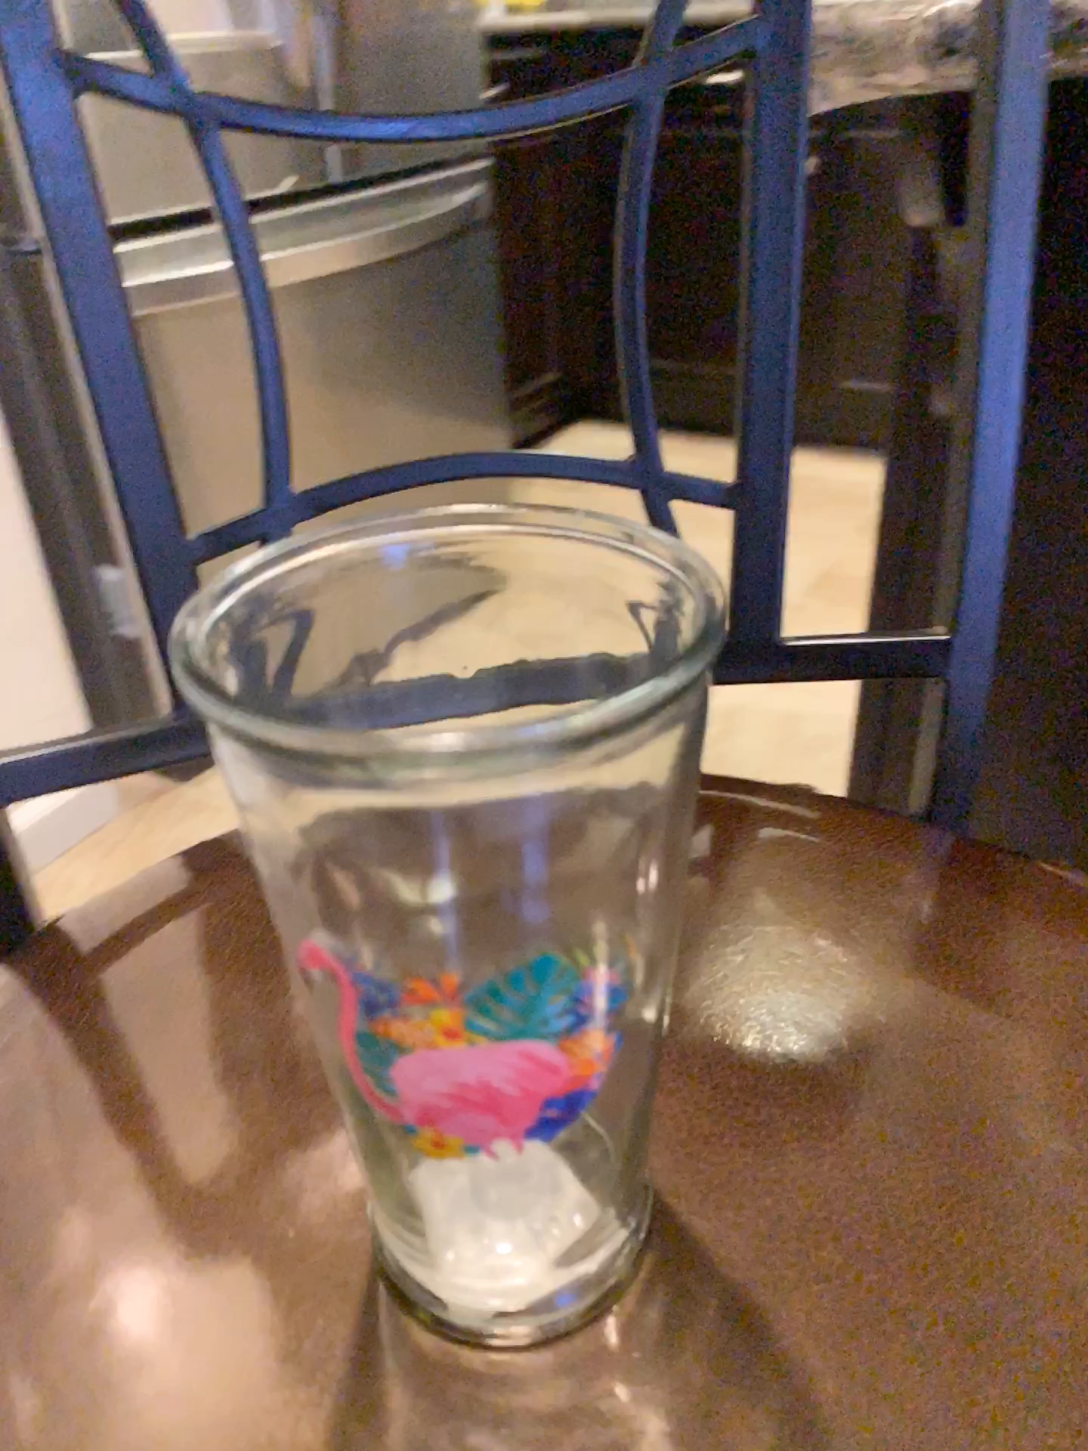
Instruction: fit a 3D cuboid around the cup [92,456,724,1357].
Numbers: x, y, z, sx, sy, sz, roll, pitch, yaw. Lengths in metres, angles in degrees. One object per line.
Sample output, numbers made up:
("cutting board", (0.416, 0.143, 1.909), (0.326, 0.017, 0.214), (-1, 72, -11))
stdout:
("cup", (-0.012, 0.035, 0.213), (0.080, 0.149, 0.081), (-2, 32, 1))
